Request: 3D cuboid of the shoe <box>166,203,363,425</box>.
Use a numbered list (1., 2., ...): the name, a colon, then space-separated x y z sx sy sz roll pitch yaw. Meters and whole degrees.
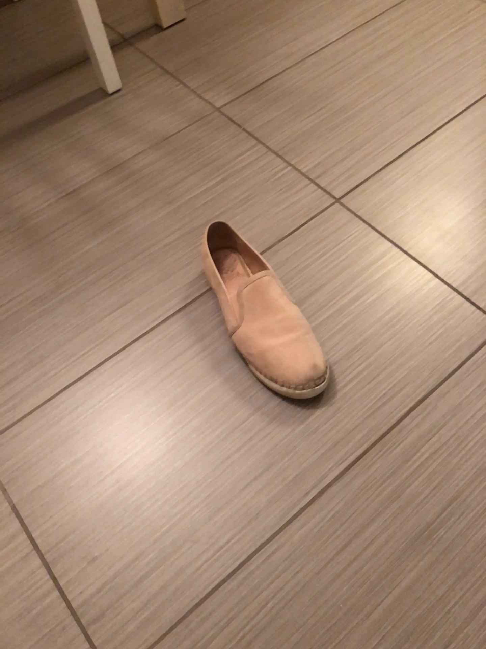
1. shoe: 0.019 -0.023 0.672 0.110 0.070 0.271 -28 60 -13
